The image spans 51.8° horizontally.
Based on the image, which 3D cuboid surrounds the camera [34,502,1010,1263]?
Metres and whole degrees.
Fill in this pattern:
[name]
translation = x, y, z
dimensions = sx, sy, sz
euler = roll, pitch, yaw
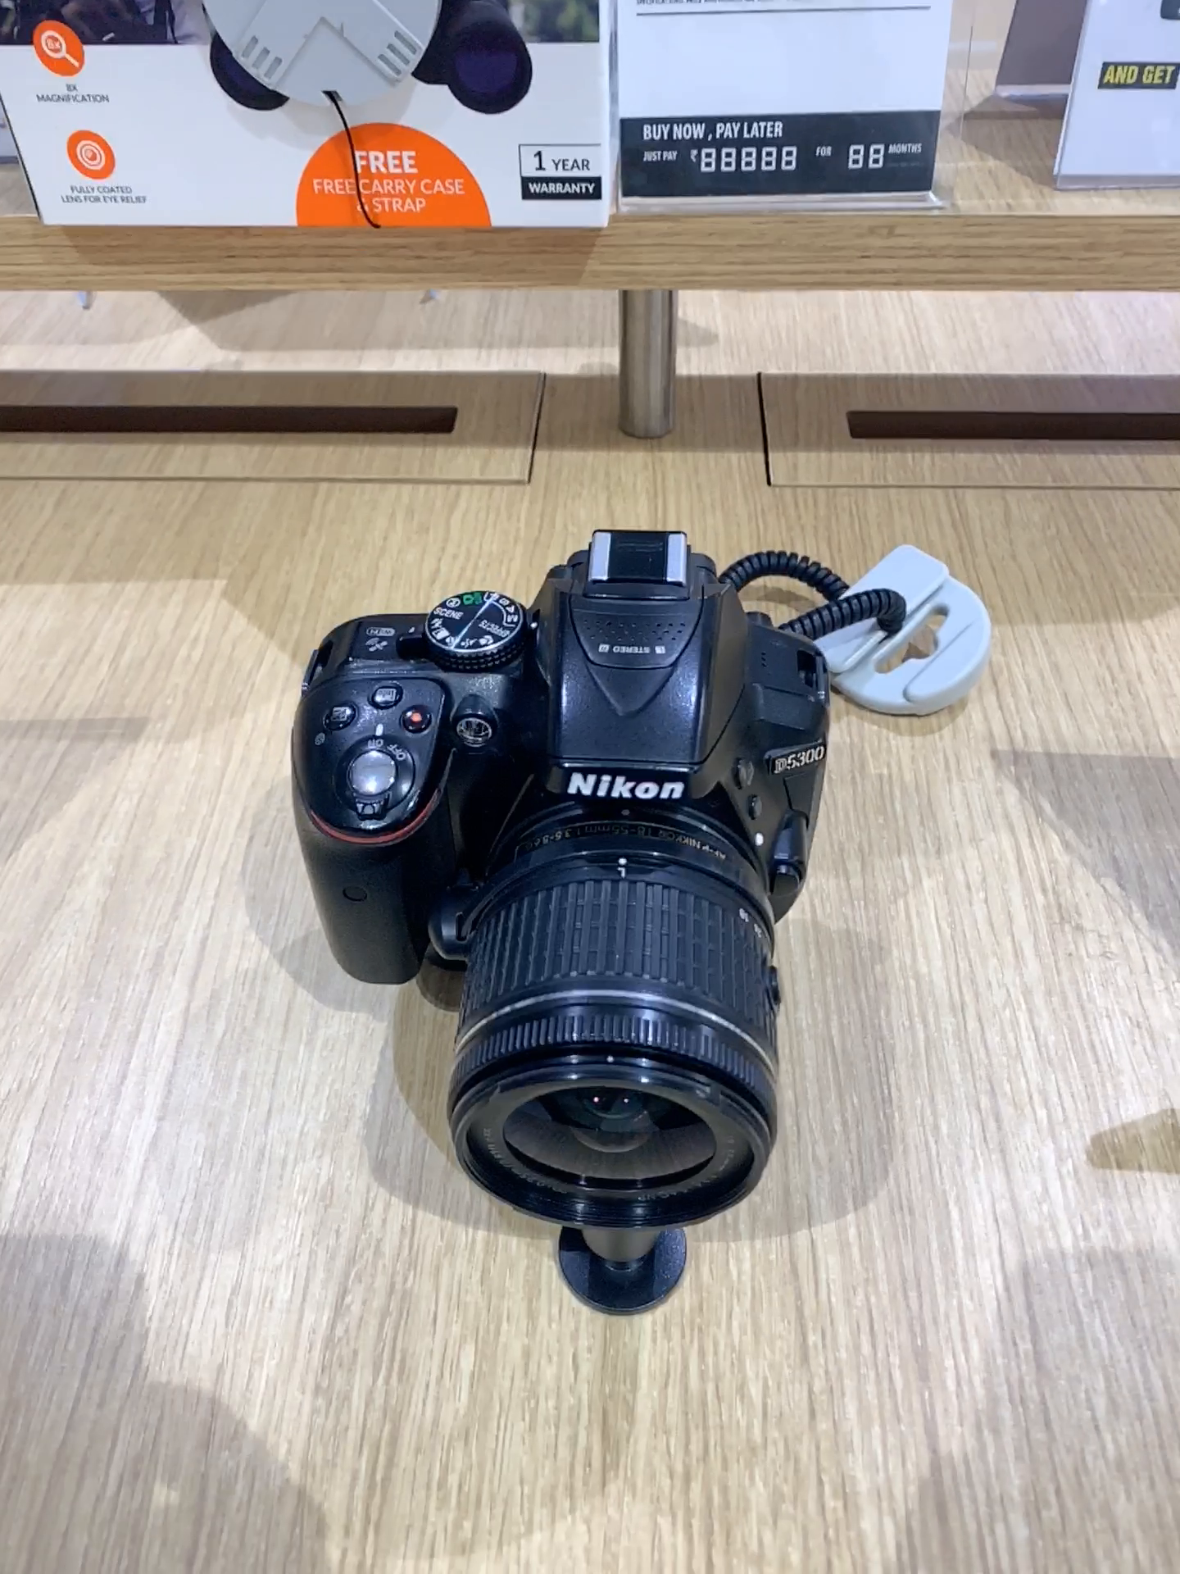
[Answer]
[camera]
translation = -0.008, 0.014, 0.232
dimensions = 0.130, 0.080, 0.120
euler = 0, 46, 2
